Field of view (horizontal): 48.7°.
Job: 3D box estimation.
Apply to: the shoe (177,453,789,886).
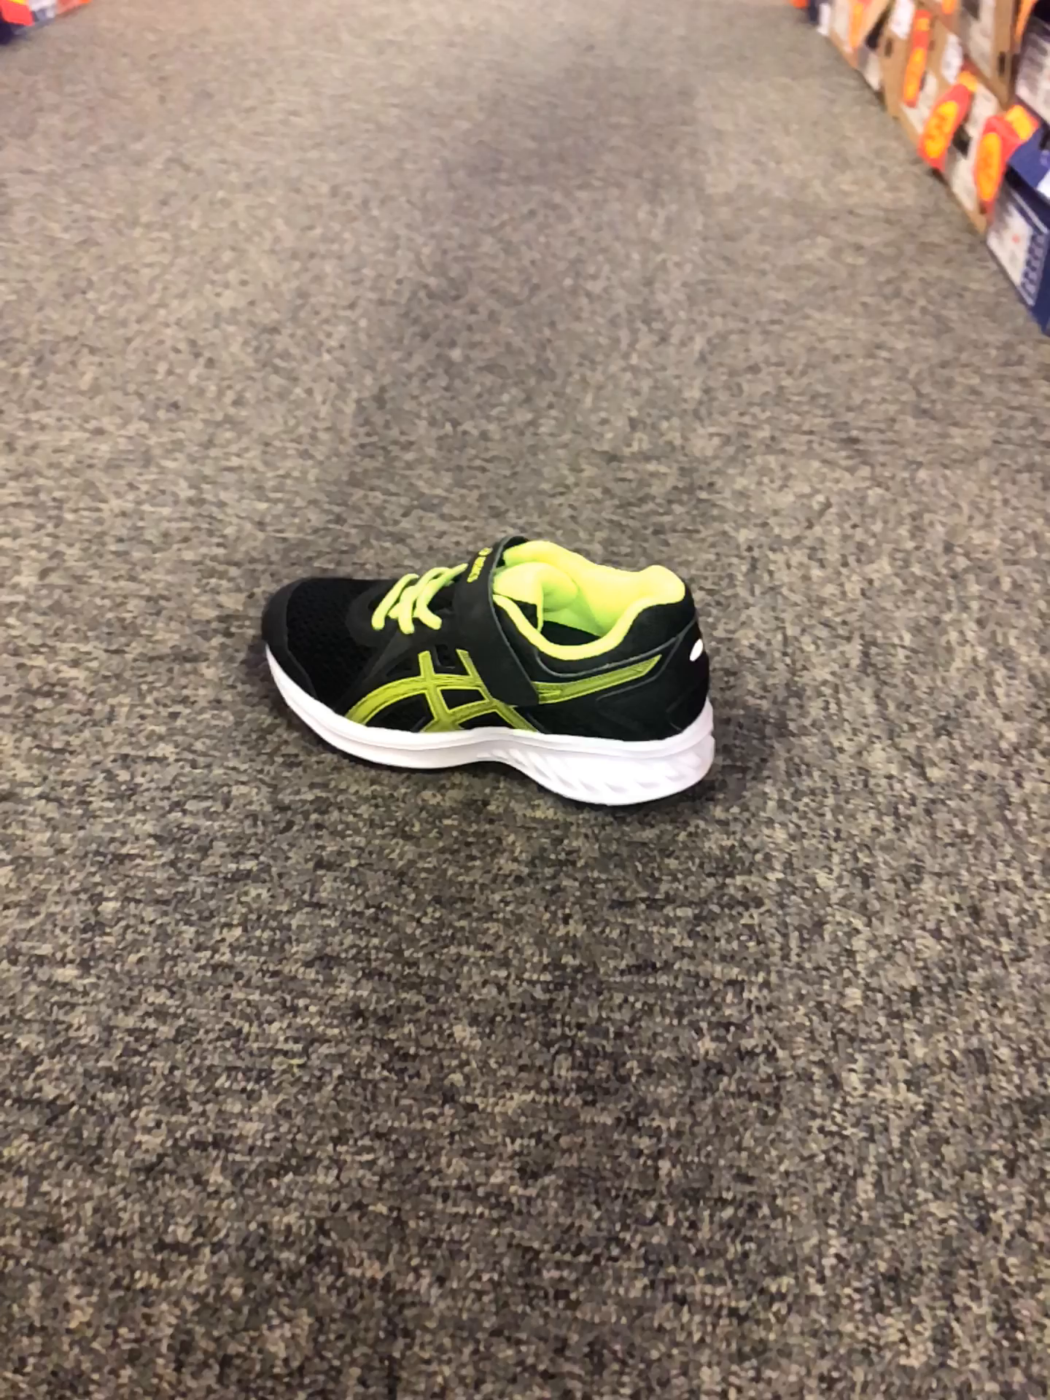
[{"bbox_3d":[-0.014,-0.017,0.441,0.200,0.079,0.091,15,42,14],"label":"shoe"}]
